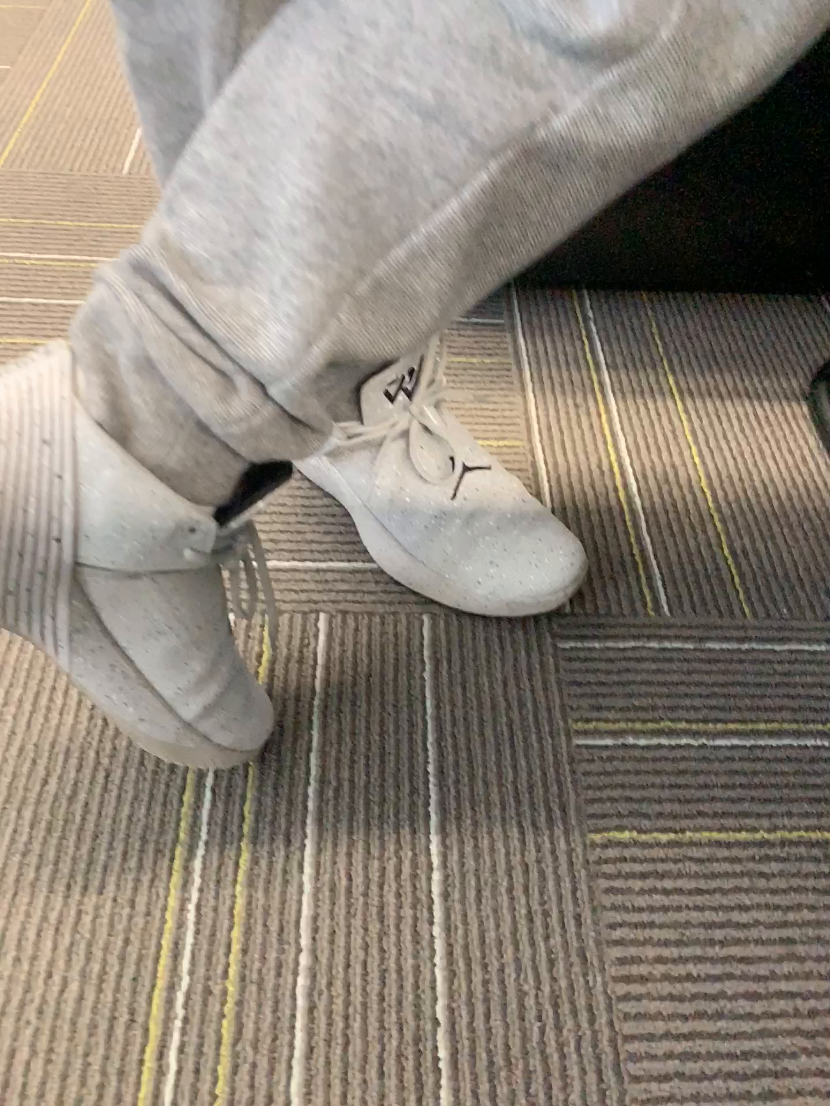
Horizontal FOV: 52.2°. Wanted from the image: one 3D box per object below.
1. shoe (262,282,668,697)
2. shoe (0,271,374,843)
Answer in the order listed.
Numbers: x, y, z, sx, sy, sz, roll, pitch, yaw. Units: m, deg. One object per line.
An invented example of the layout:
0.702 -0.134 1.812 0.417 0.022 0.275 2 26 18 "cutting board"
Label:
0.023 -0.057 0.661 0.130 0.149 0.281 -34 62 -27 "shoe"
-0.149 0.019 0.456 0.120 0.279 0.120 -31 43 -1 "shoe"
